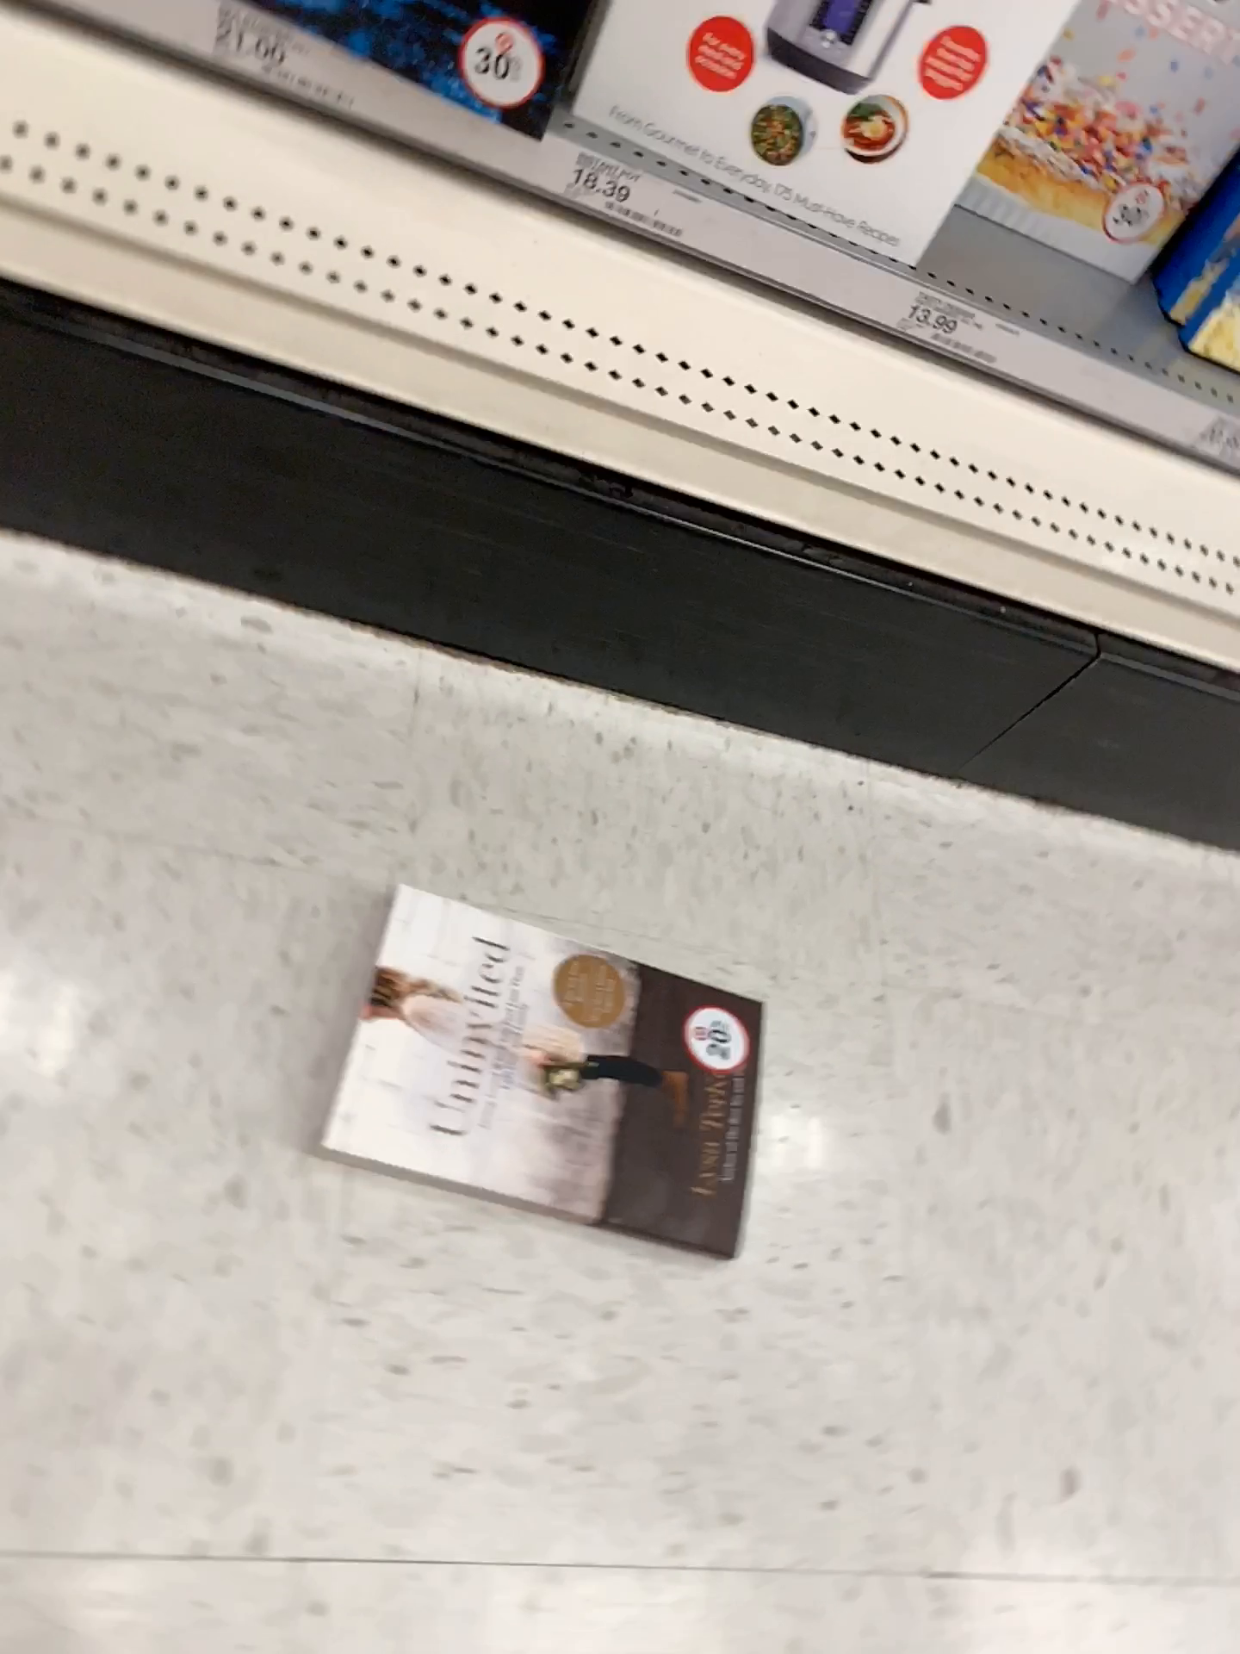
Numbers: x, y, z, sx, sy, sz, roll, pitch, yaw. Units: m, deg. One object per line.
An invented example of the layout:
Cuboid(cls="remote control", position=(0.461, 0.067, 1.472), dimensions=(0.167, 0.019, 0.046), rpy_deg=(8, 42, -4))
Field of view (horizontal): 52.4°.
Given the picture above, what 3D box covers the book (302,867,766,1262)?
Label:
Cuboid(cls="book", position=(-0.033, 0.119, 0.627), dimensions=(0.210, 0.030, 0.140), rpy_deg=(19, 57, -15))
